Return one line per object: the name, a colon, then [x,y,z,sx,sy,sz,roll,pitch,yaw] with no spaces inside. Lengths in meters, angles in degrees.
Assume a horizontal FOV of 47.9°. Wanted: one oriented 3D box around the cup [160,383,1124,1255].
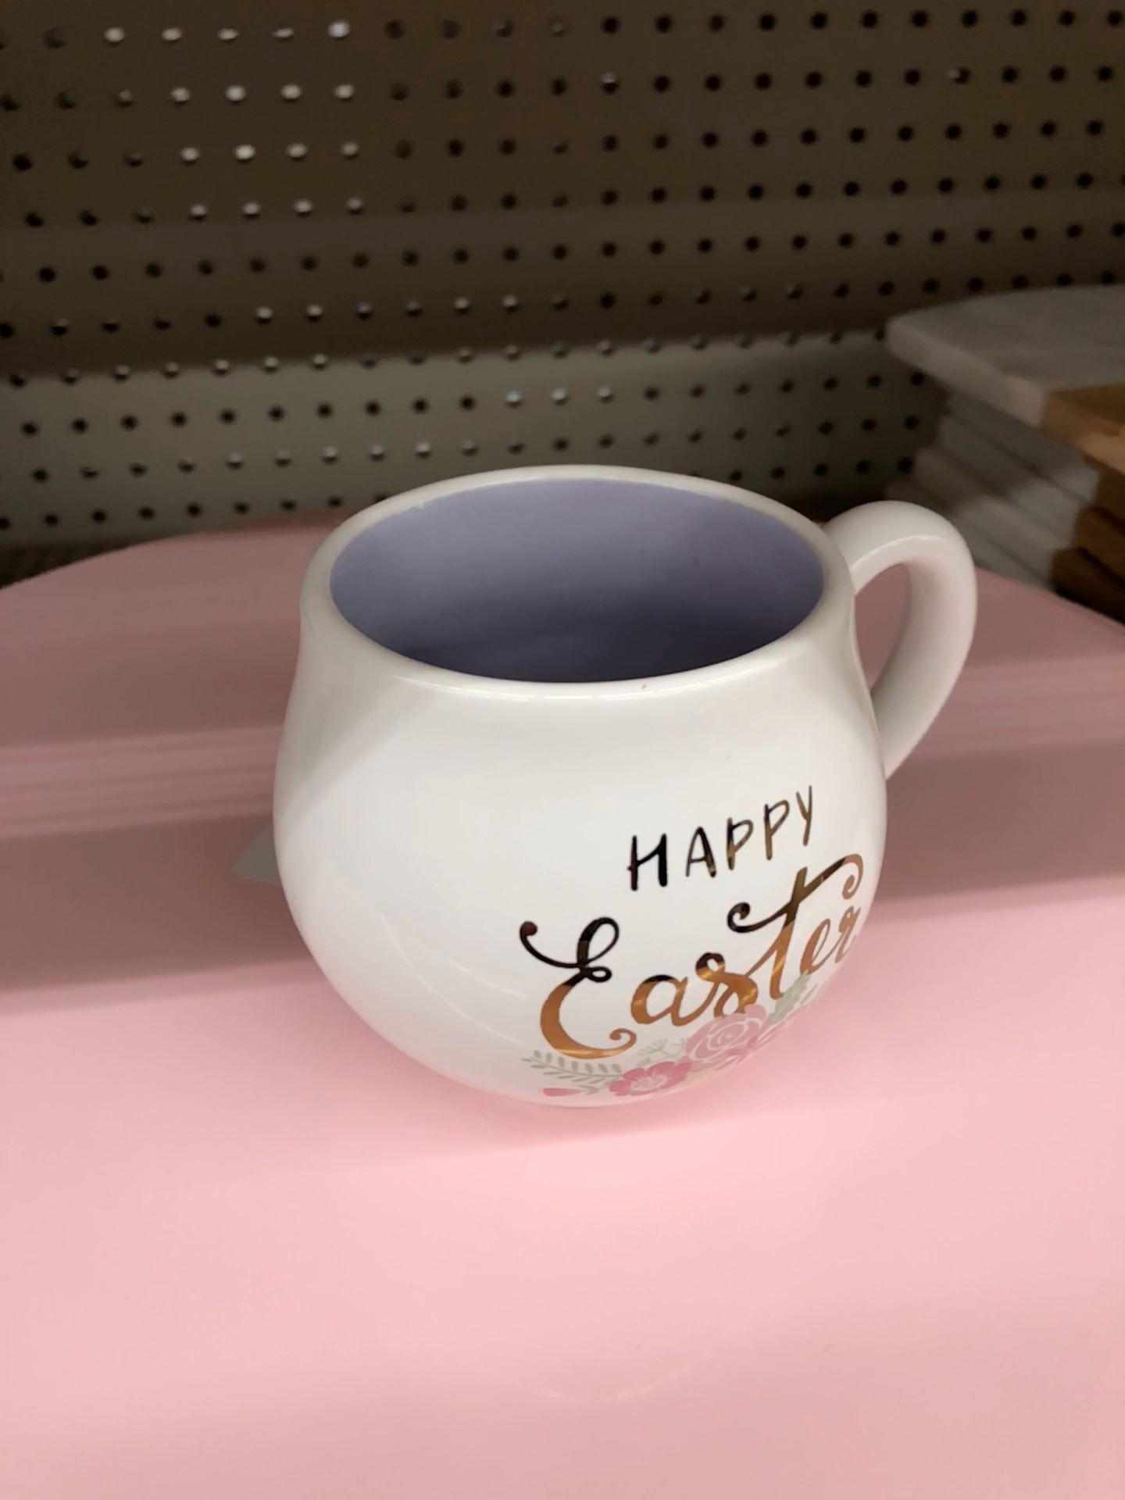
cup: [0.015,-0.001,0.216,0.130,0.080,0.090,-17,36,-24]
